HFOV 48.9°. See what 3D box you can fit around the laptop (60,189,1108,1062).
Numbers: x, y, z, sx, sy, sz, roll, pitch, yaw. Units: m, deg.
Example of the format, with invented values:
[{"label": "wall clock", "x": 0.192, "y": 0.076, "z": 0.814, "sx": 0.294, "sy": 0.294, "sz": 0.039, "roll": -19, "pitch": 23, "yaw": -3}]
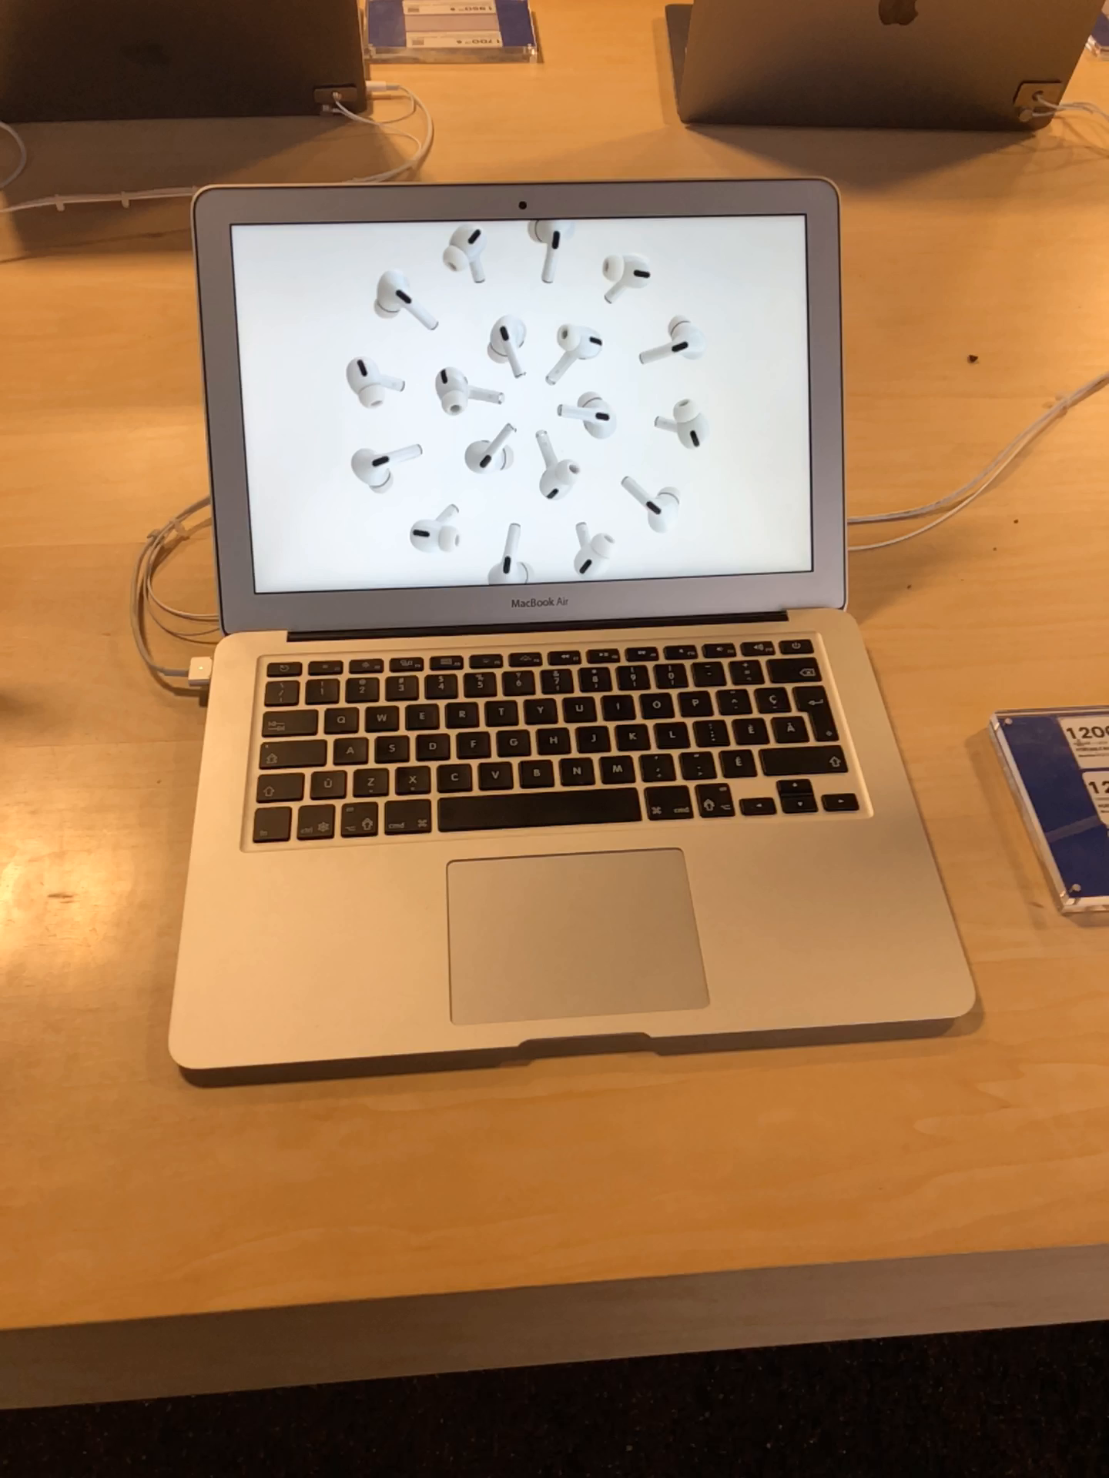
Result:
[{"label": "laptop", "x": -0.002, "y": -0.076, "z": 0.534, "sx": 0.311, "sy": 0.151, "sz": 0.373, "roll": -3, "pitch": 50, "yaw": -4}]
